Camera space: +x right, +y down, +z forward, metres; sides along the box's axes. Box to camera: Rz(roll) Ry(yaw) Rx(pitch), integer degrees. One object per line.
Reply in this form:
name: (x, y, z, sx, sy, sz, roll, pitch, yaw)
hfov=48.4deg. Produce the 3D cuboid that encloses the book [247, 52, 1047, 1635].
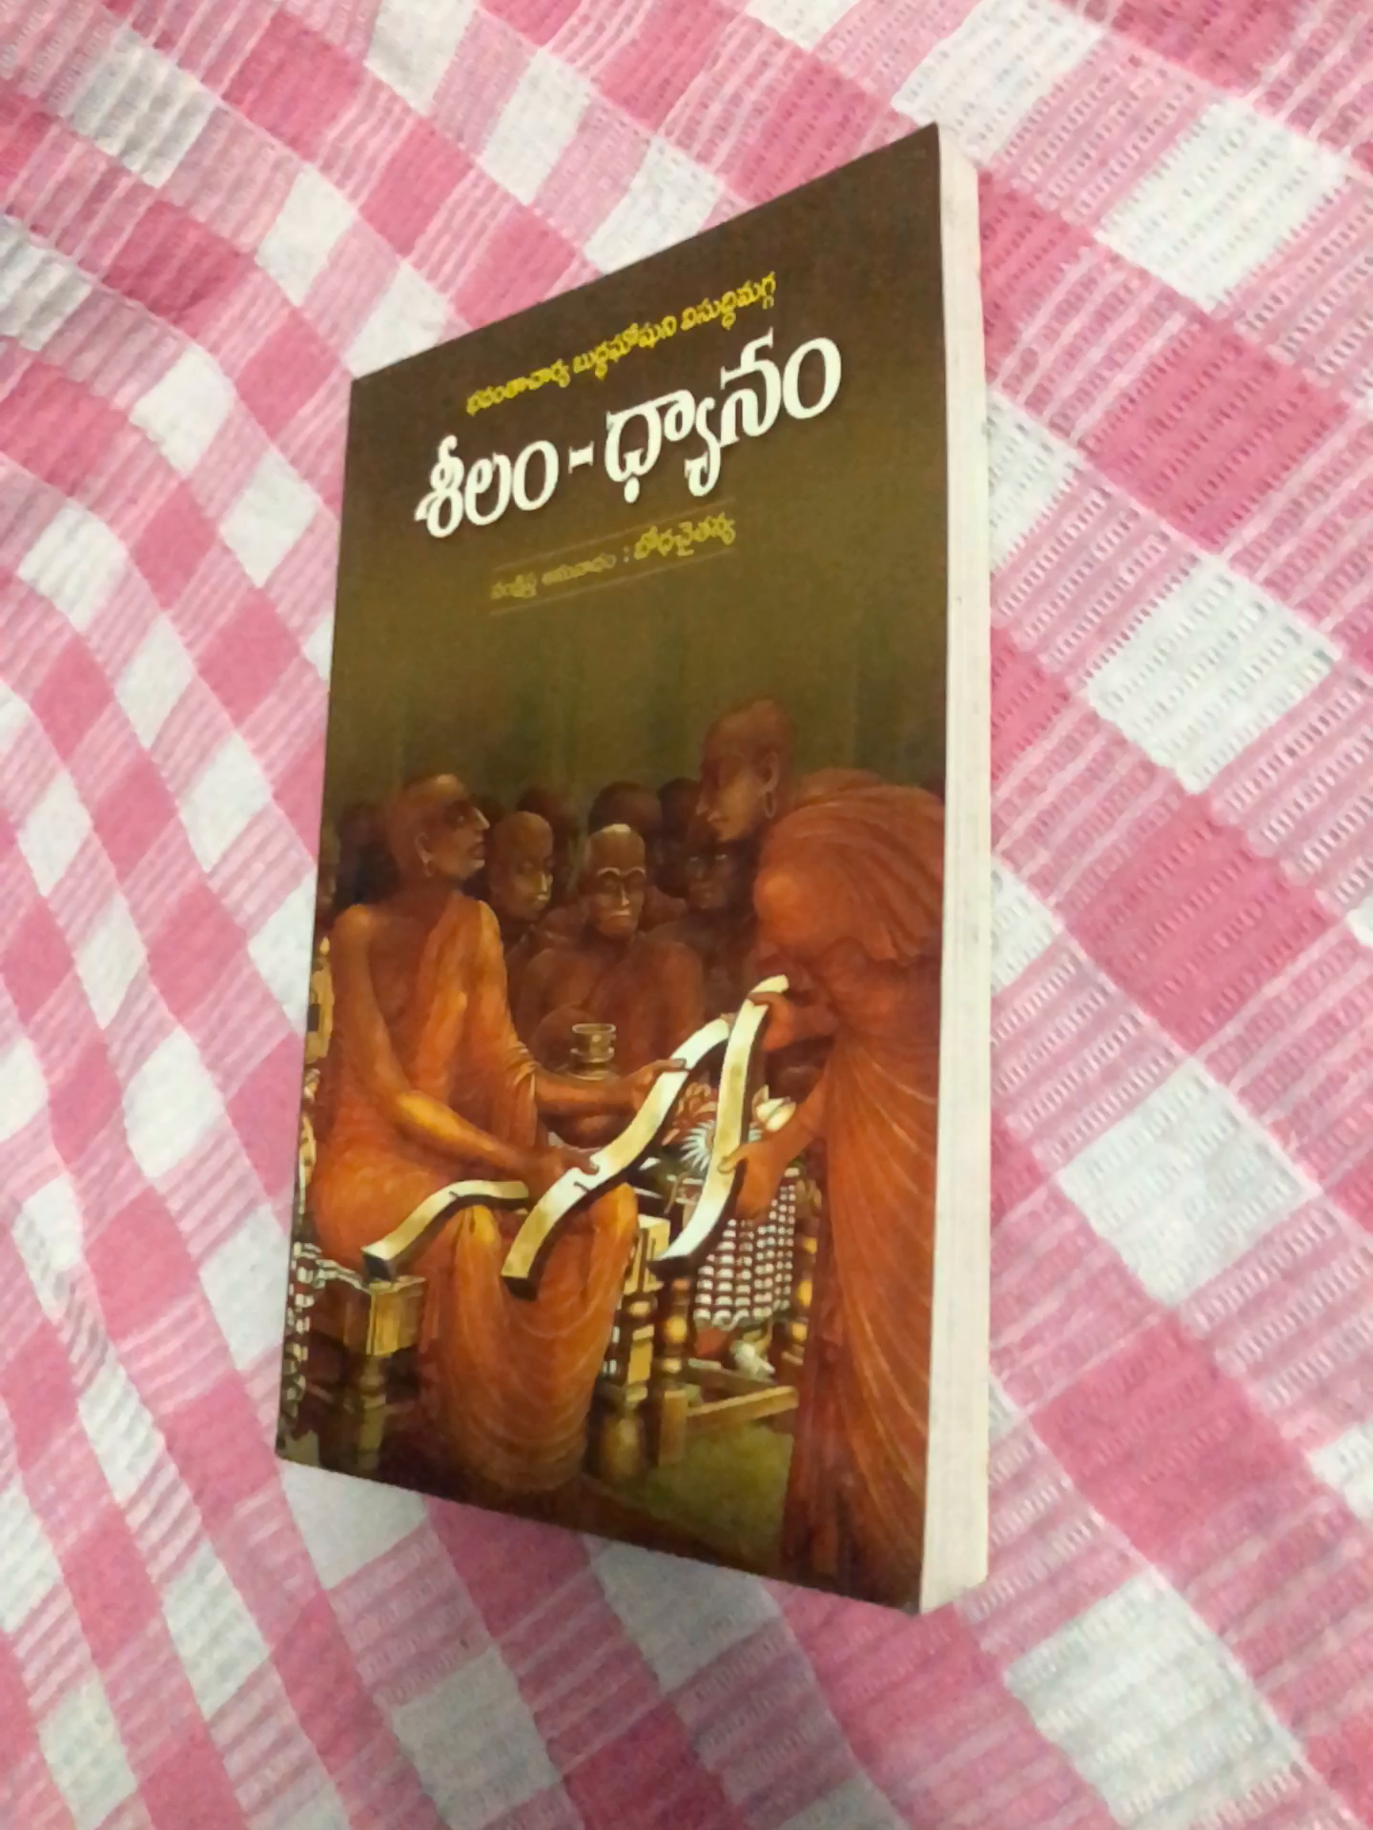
book: (-0.012, -0.011, 0.249, 0.140, 0.020, 0.210, -5, 80, 36)
